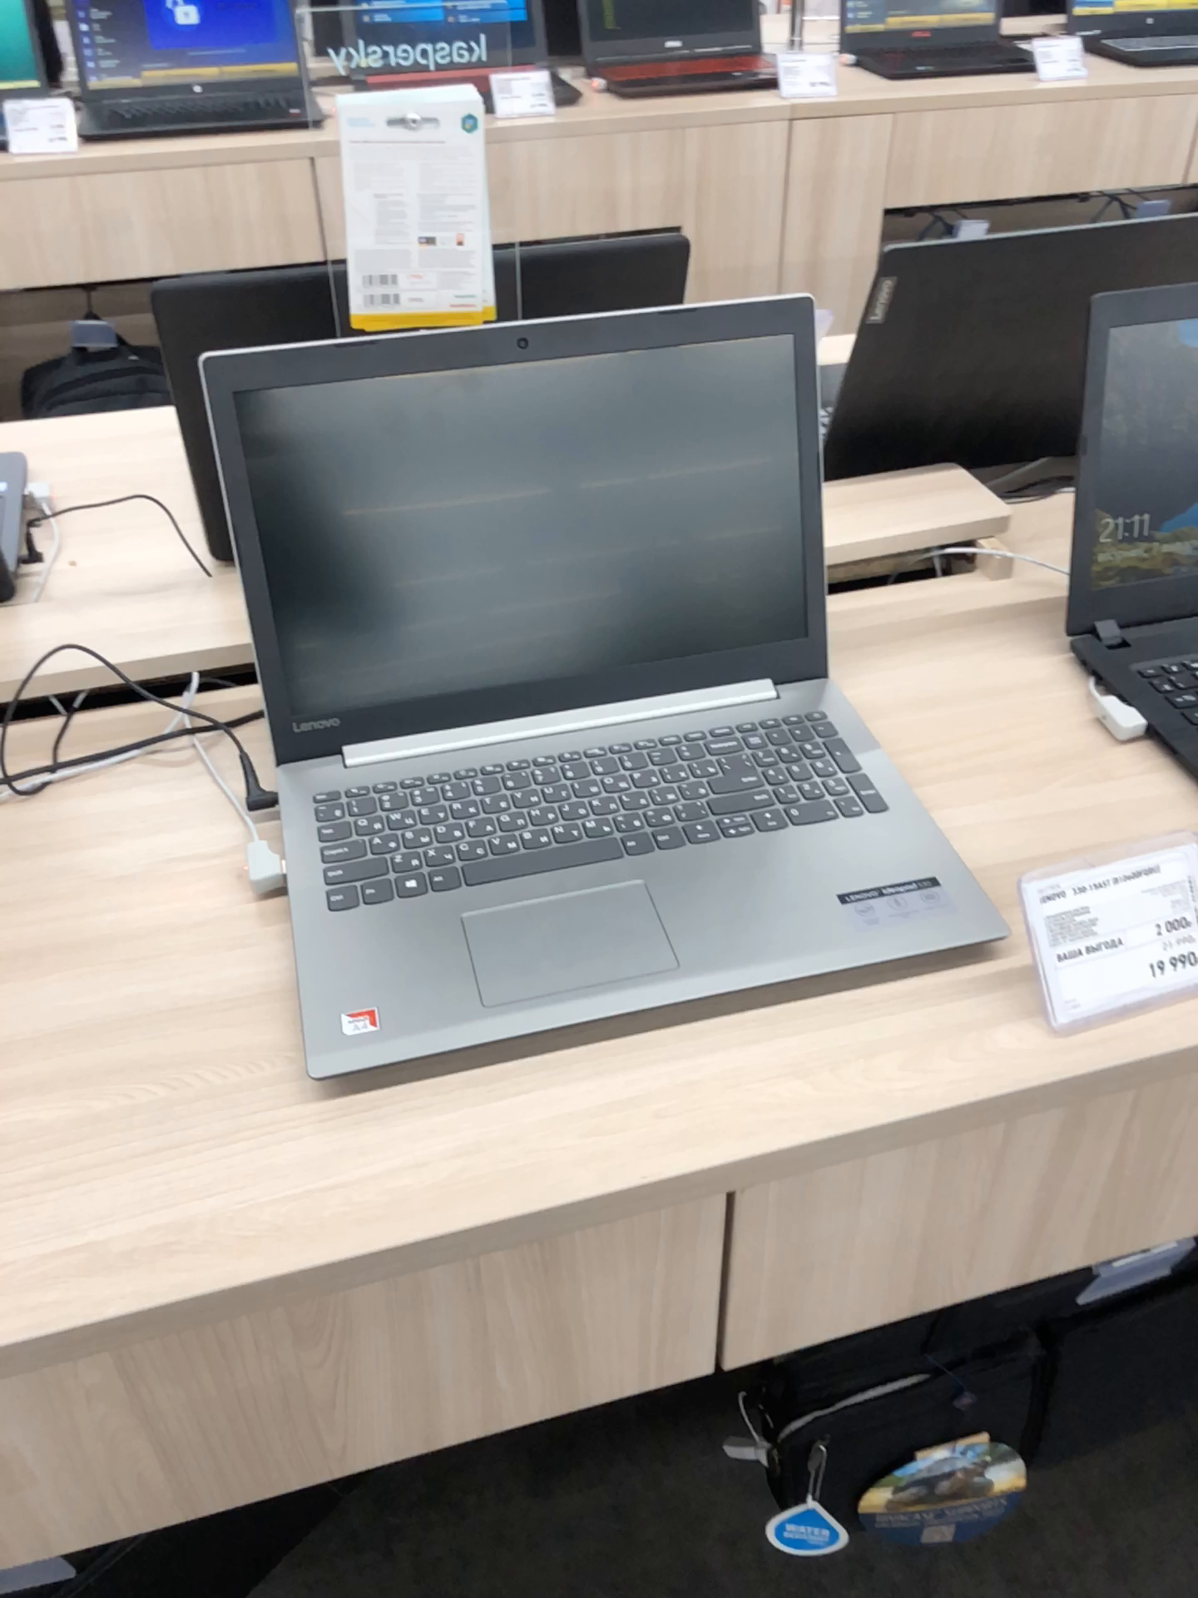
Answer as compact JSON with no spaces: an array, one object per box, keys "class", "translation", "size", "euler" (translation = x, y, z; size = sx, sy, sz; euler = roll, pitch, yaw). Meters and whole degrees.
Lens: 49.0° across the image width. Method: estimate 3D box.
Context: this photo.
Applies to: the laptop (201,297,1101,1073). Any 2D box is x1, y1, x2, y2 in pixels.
[{"class":"laptop","translation":[-0.003,-0.093,0.746],"size":[0.380,0.234,0.345],"euler":[-10,39,-11]}]
